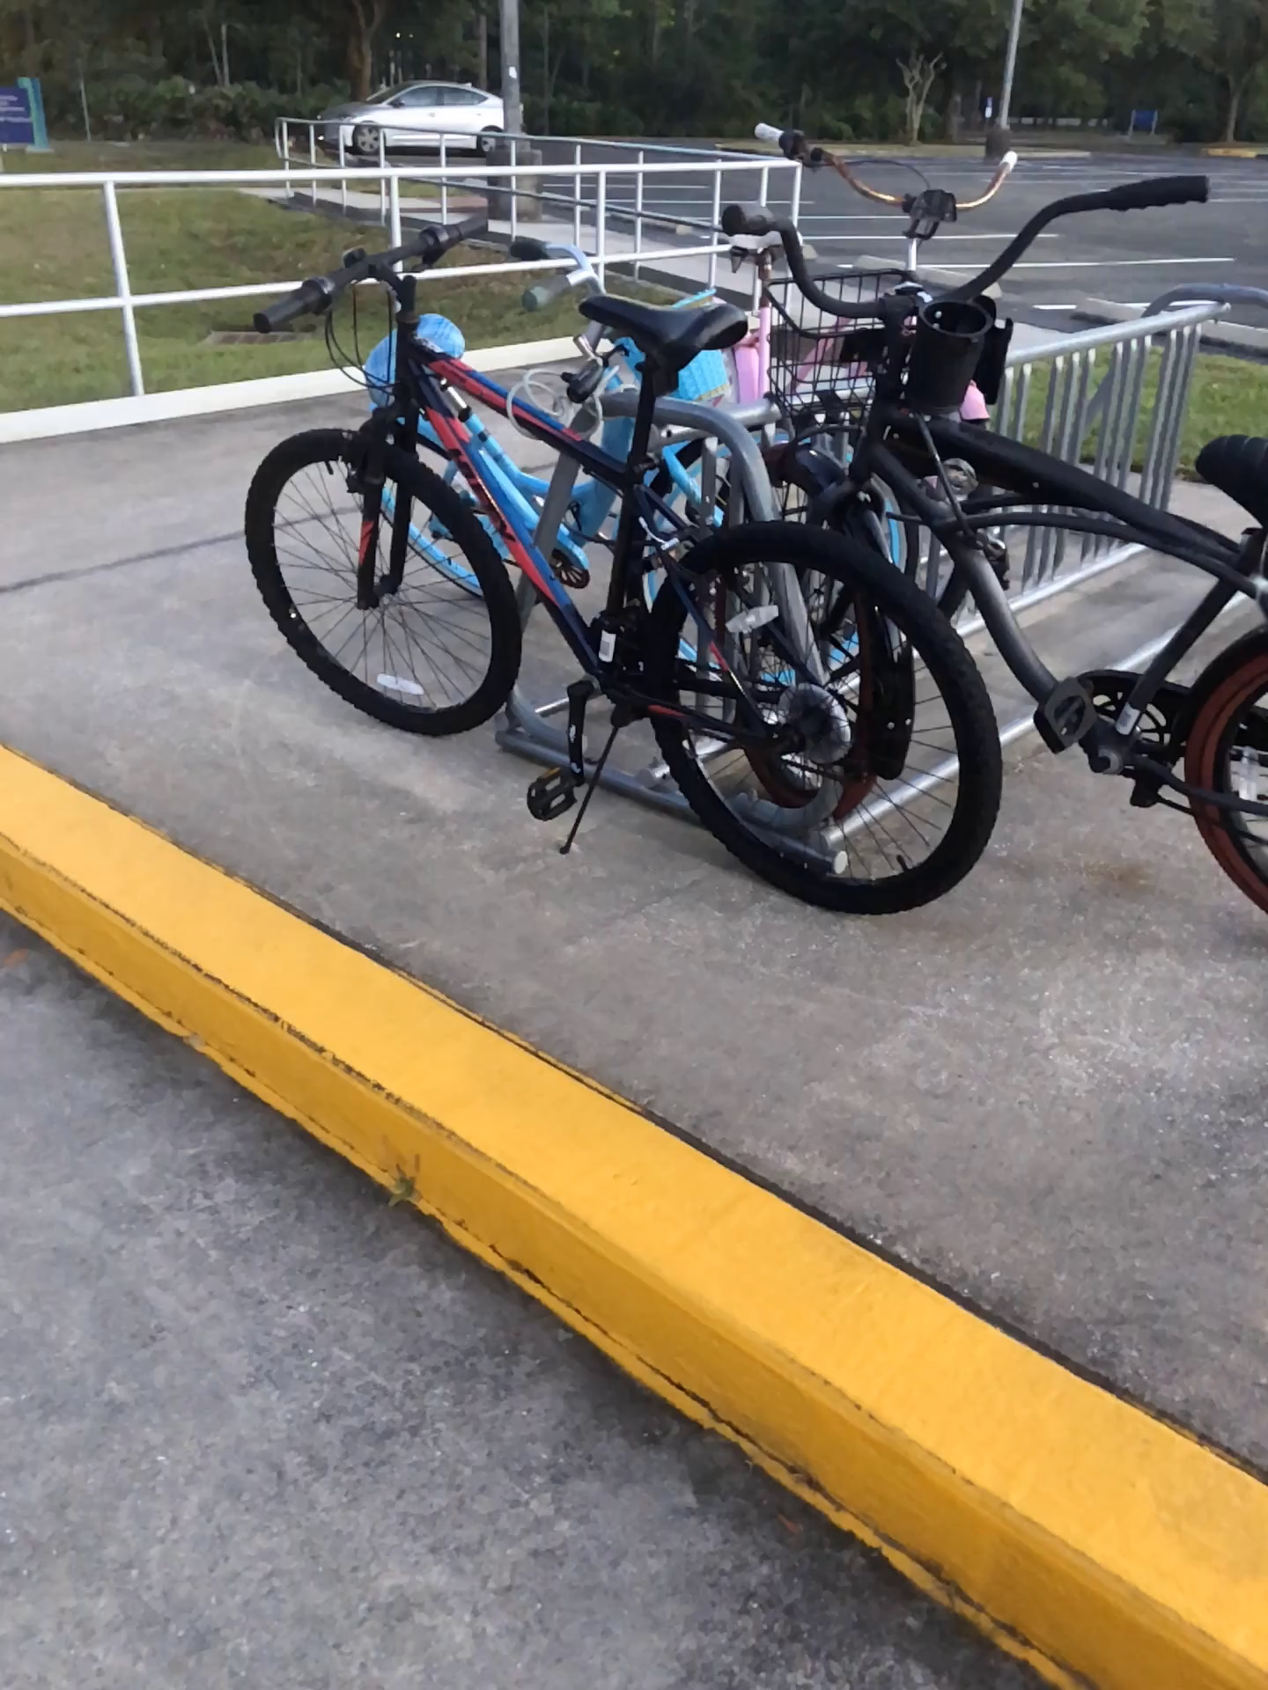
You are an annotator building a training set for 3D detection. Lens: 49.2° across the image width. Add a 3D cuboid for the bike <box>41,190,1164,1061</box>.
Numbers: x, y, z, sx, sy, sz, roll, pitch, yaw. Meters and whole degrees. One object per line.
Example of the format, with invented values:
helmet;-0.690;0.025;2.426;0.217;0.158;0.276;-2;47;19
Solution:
bike;-0.143;-0.497;2.275;1.633;0.931;0.626;22;34;33
